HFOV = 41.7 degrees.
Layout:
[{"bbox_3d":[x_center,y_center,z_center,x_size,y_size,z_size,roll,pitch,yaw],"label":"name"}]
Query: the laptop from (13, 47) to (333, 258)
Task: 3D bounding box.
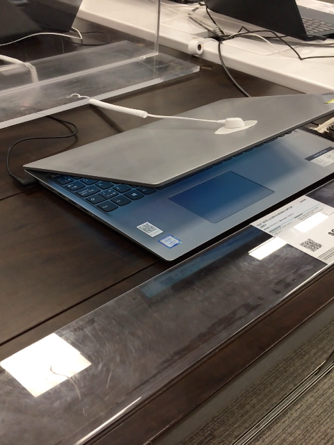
[{"bbox_3d":[0.058,-0.118,0.578,0.366,0.097,0.246,-30,51,-31],"label":"laptop"}]
